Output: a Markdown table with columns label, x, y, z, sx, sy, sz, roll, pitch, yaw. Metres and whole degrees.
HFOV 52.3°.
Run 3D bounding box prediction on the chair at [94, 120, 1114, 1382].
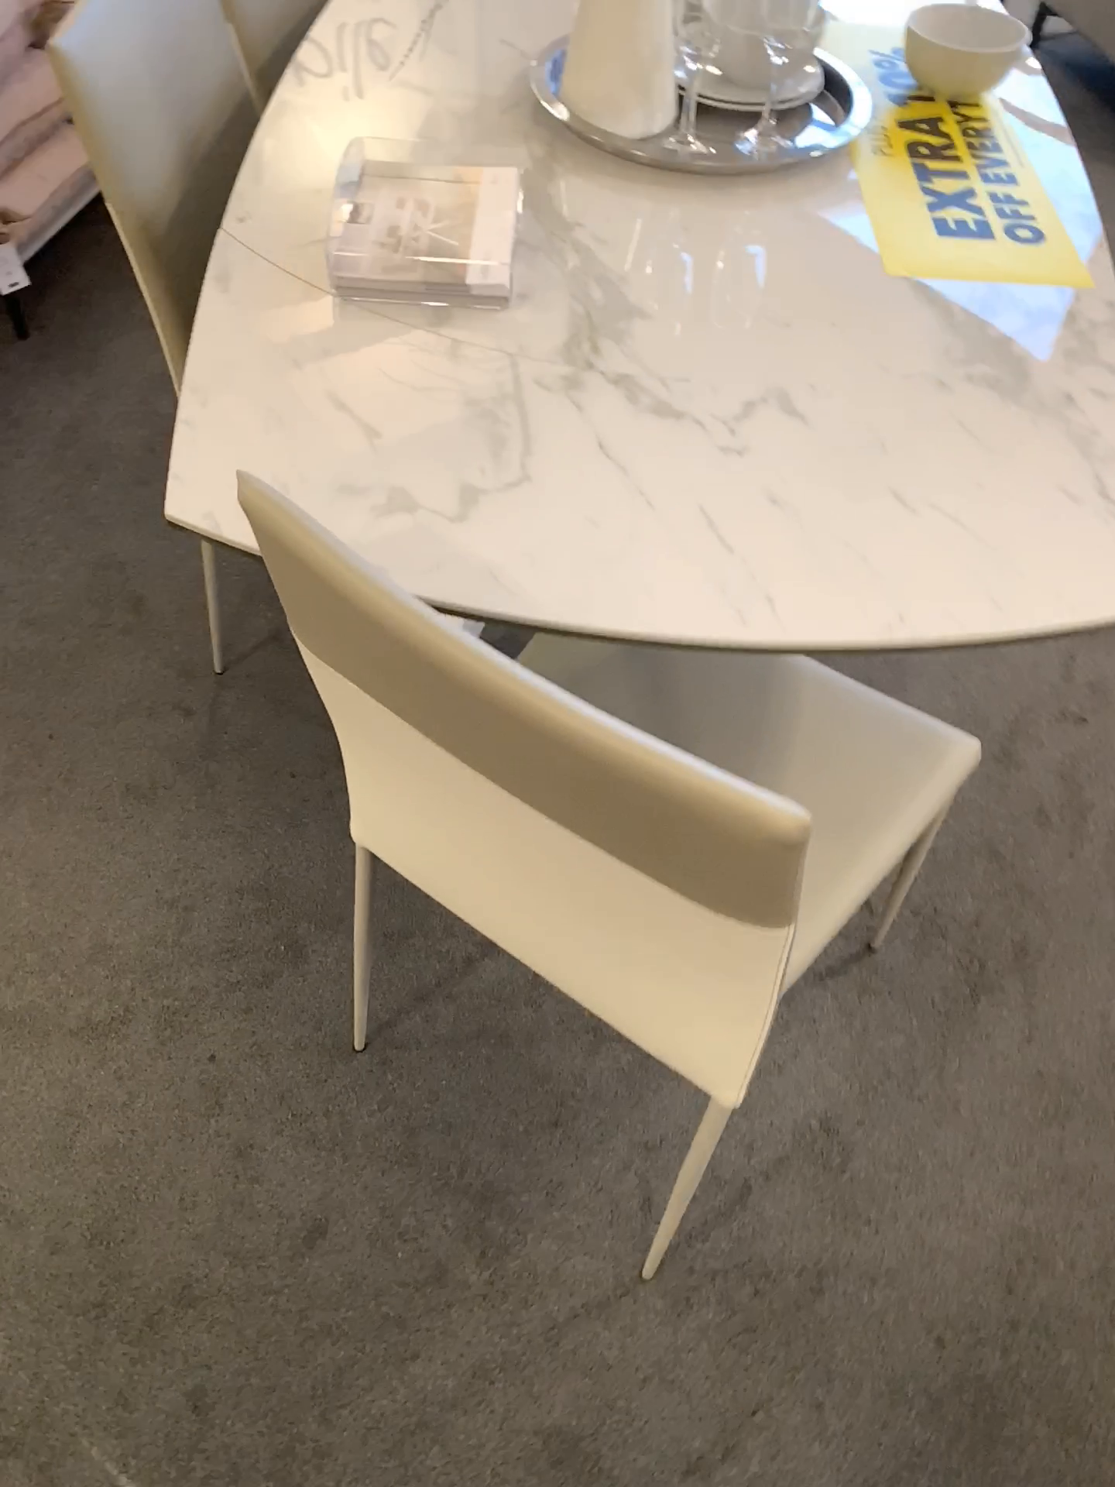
| label | x | y | z | sx | sy | sz | roll | pitch | yaw |
| --- | --- | --- | --- | --- | --- | --- | --- | --- | --- |
| chair | 0.107 | 0.050 | 1.017 | 0.533 | 0.823 | 0.584 | 31 | 56 | 19 |
